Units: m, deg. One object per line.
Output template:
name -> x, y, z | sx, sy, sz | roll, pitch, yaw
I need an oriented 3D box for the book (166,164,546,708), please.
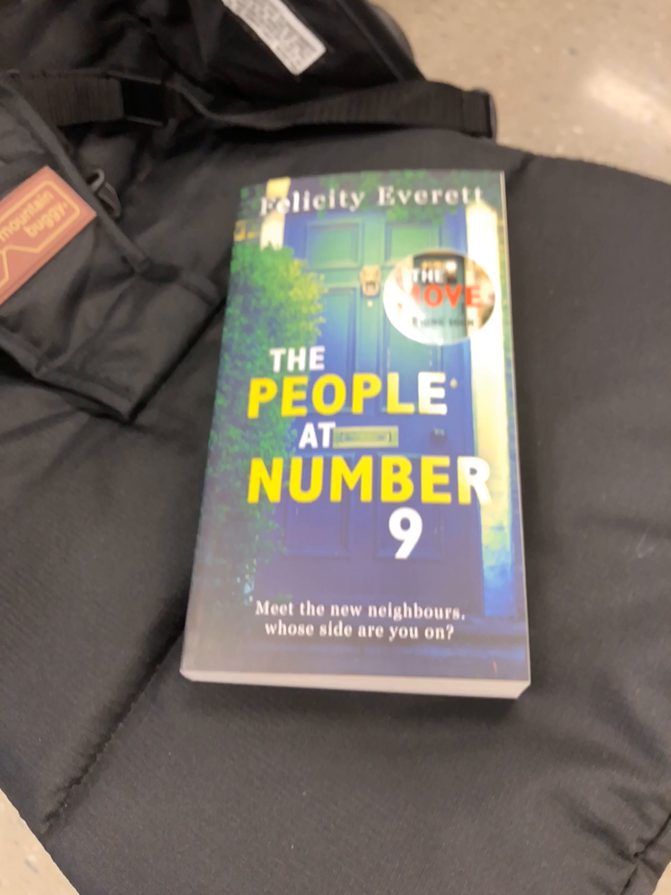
book -> 0.010, -0.013, 0.270 | 0.110, 0.030, 0.195 | 1, 68, 3
